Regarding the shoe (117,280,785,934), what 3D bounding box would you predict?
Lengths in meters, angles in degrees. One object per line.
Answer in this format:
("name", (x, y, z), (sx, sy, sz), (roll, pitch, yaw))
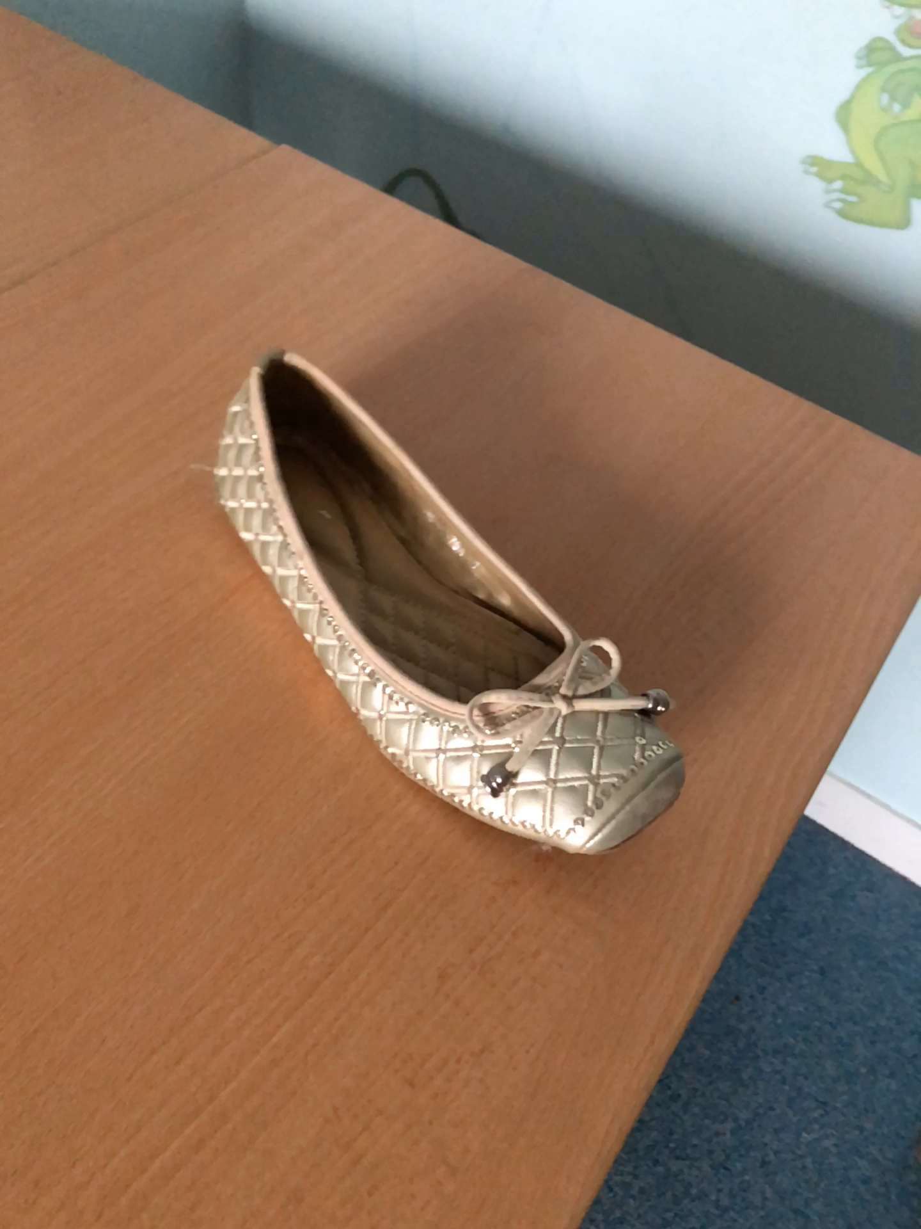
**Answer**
("shoe", (-0.017, -0.018, 0.404), (0.100, 0.080, 0.260), (-33, 63, -28))
